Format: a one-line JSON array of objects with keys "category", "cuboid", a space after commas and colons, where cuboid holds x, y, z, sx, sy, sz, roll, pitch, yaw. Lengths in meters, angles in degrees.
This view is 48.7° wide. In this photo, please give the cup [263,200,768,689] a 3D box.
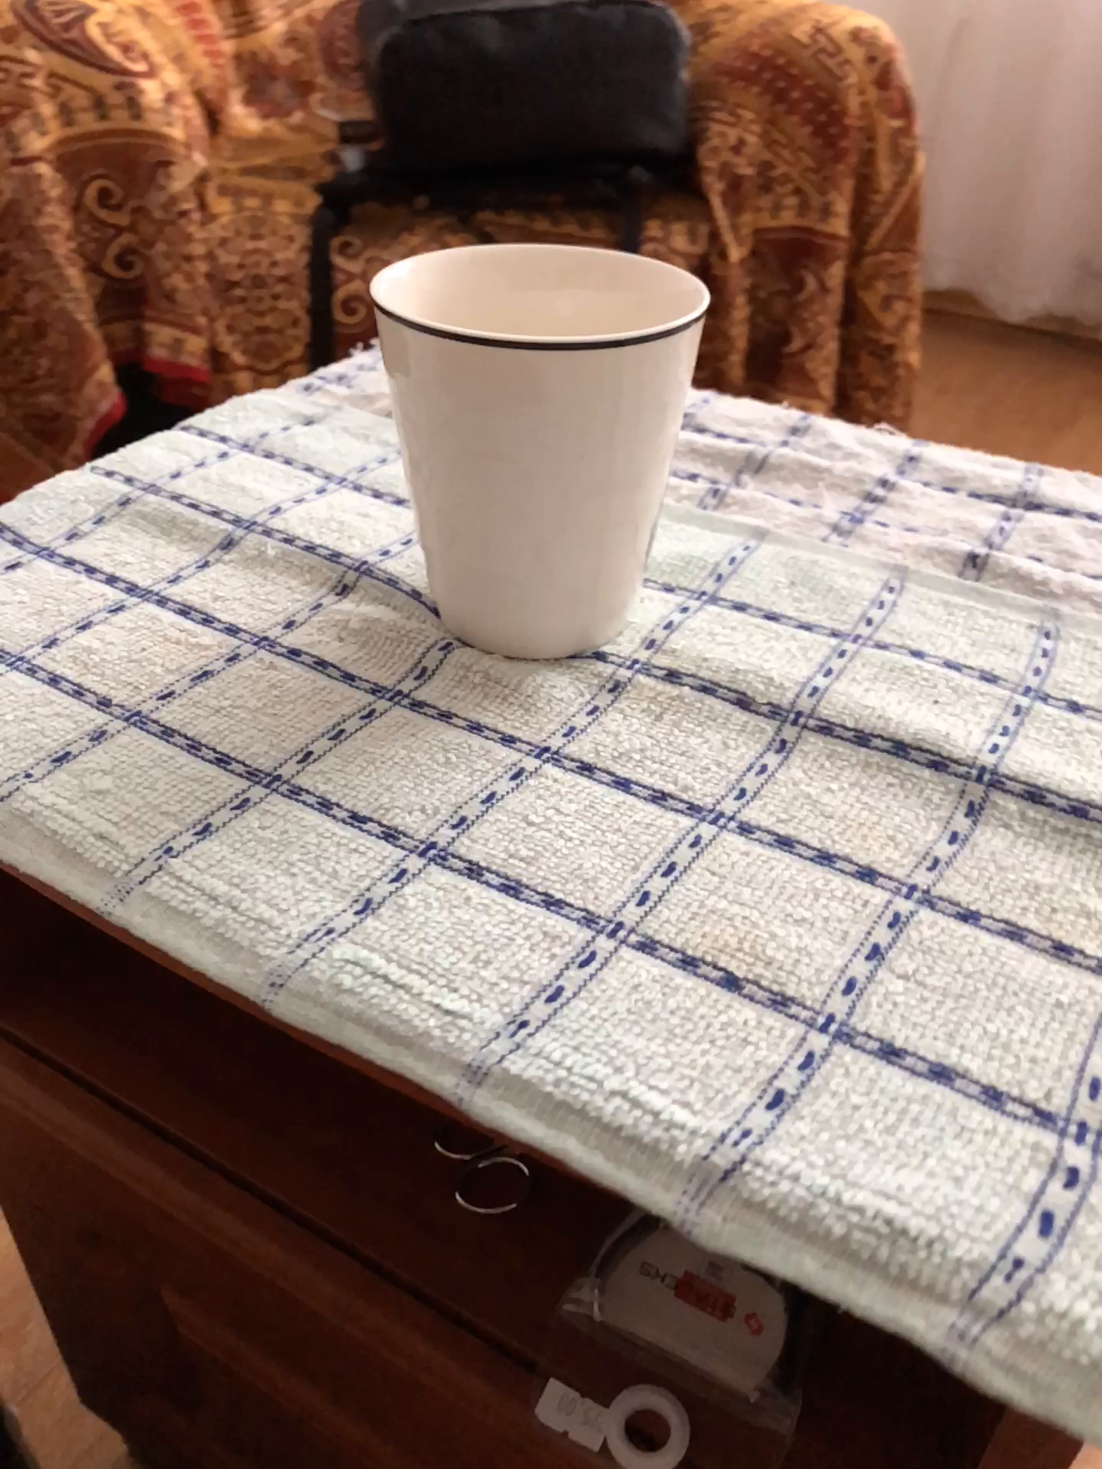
[{"category": "cup", "cuboid": [-0.016, -0.093, 0.361, 0.091, 0.090, 0.123, -18, 40, -25]}]
